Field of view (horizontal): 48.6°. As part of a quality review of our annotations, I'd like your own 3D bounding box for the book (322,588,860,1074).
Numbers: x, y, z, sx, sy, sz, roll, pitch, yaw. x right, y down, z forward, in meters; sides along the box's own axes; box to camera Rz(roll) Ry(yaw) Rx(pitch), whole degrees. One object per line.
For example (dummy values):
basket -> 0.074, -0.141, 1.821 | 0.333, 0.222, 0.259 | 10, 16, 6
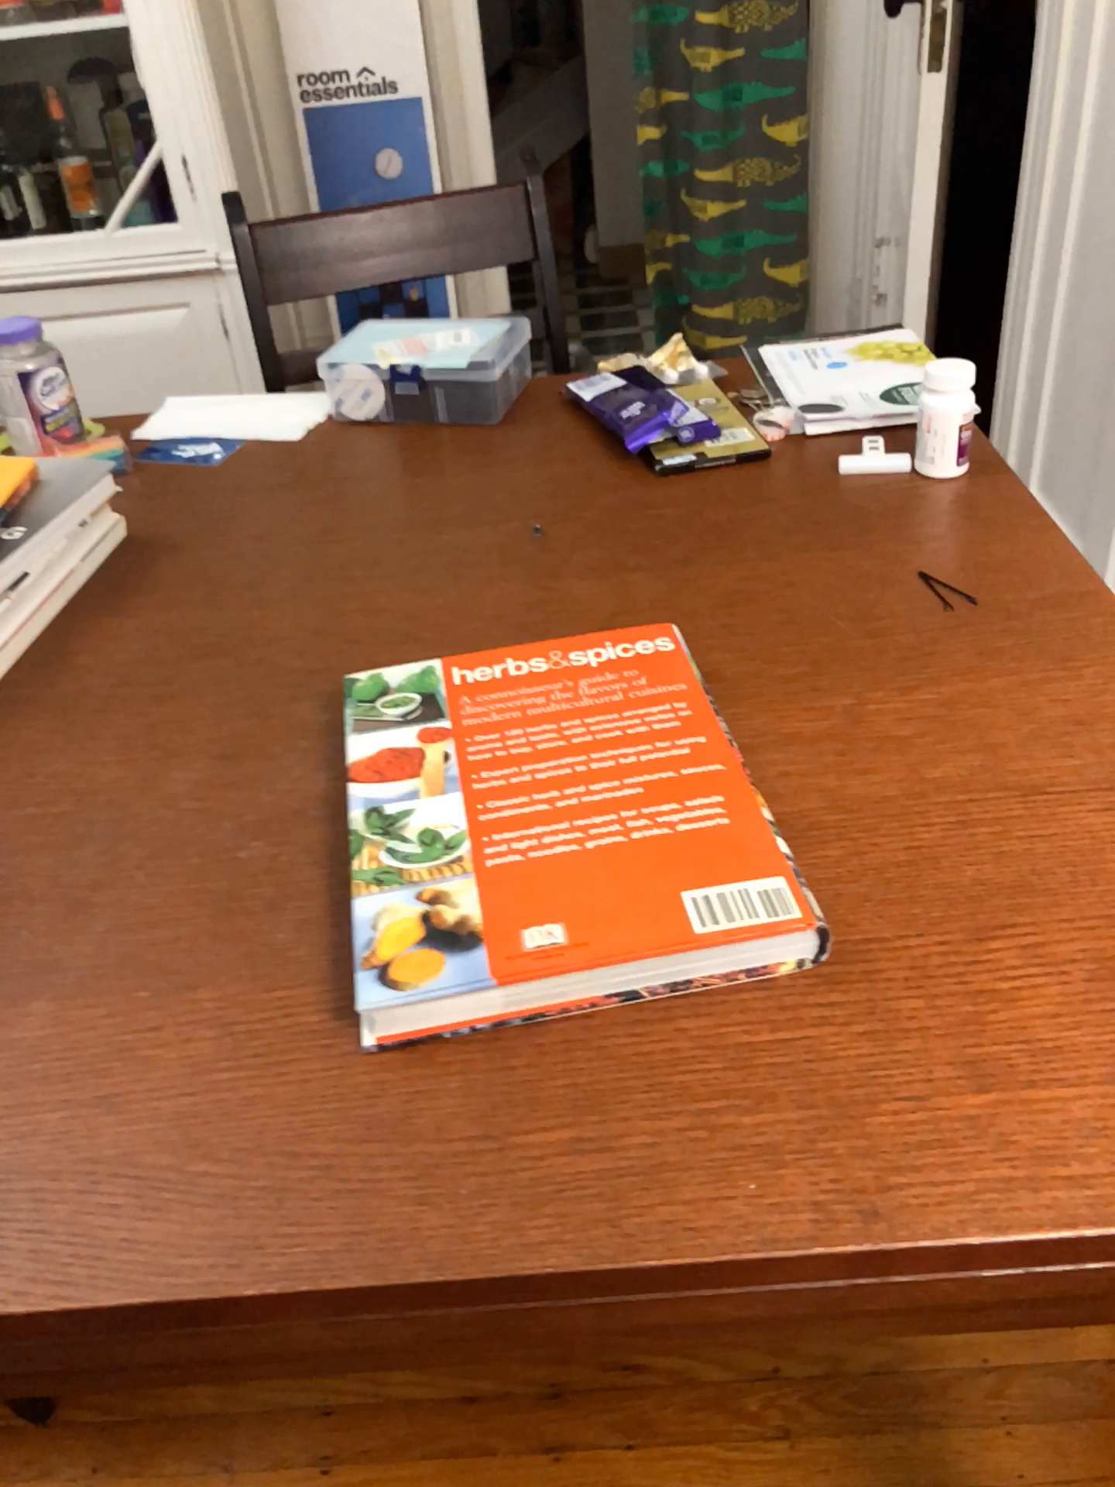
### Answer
book -> -0.004, 0.021, 0.595 | 0.210, 0.040, 0.272 | -9, 35, -4
